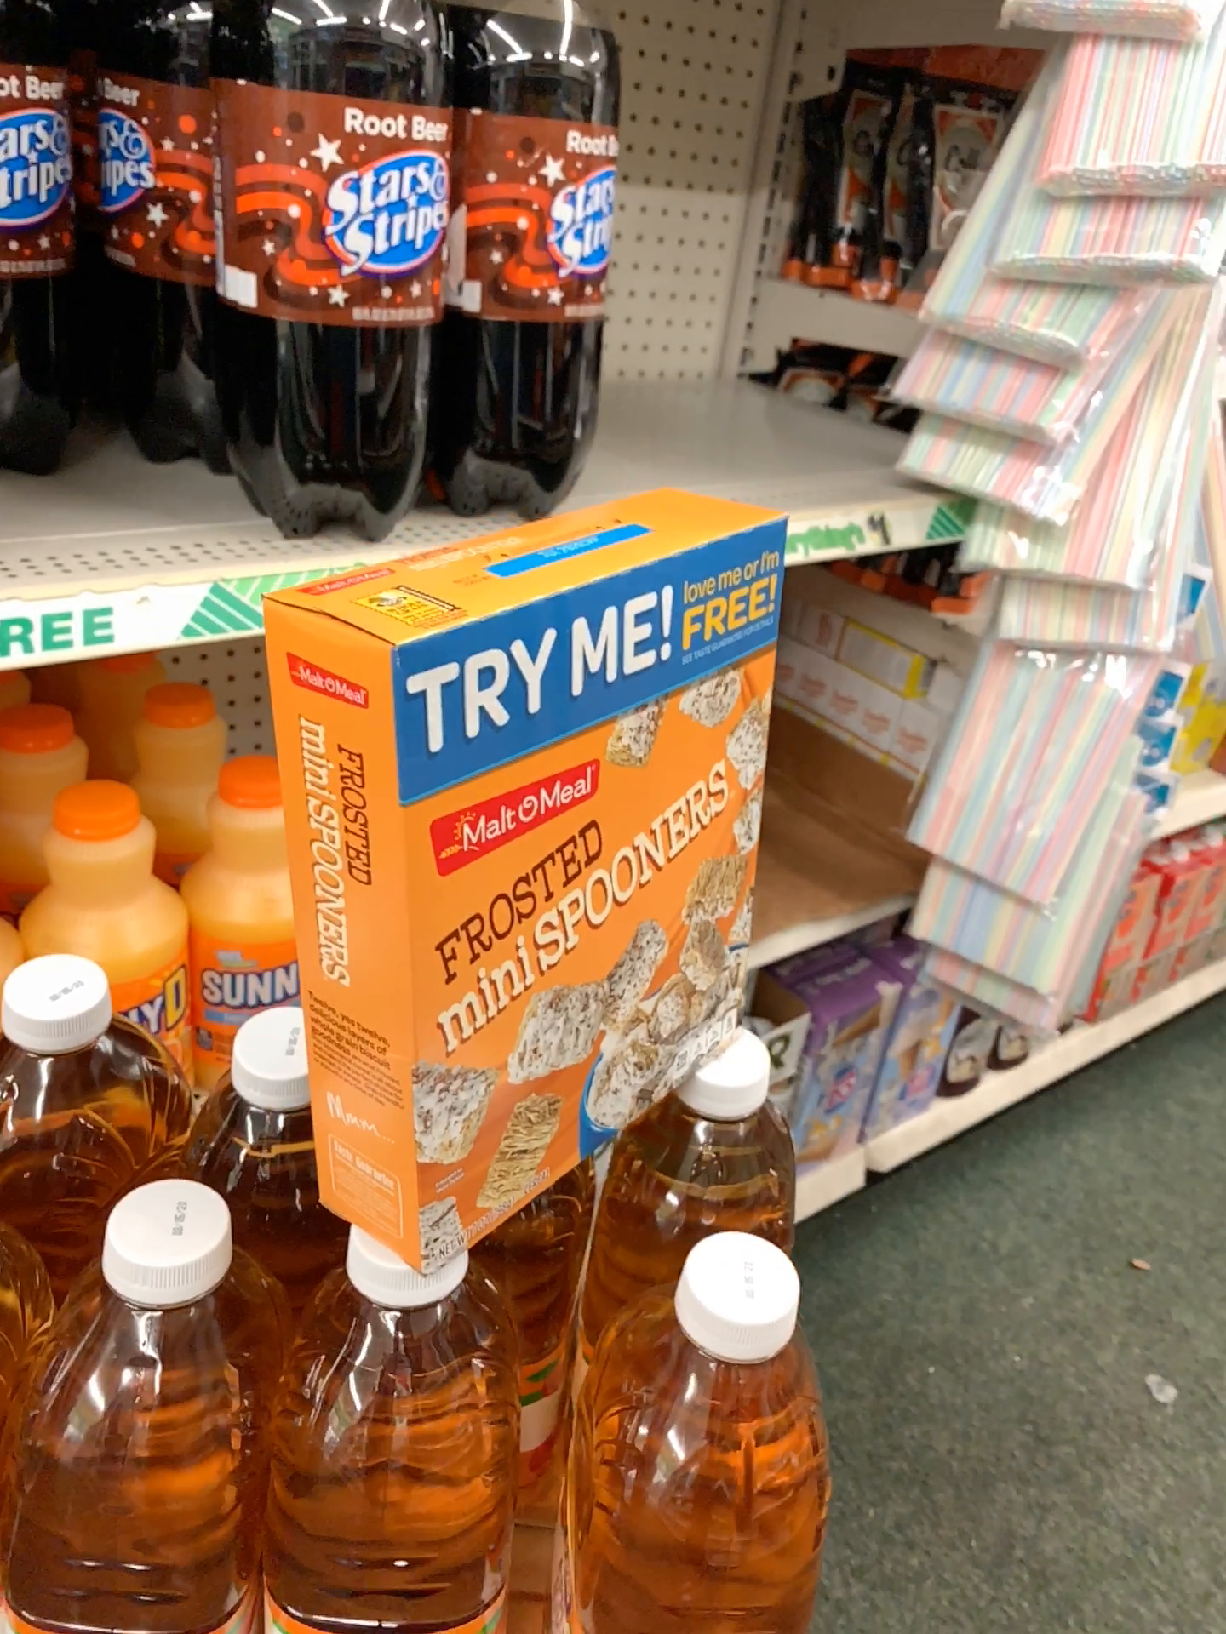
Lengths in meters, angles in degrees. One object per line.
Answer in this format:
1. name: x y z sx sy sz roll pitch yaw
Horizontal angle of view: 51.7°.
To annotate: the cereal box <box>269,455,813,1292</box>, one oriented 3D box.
1. cereal box: -0.016 0.008 0.412 0.060 0.219 0.171 20 31 33
